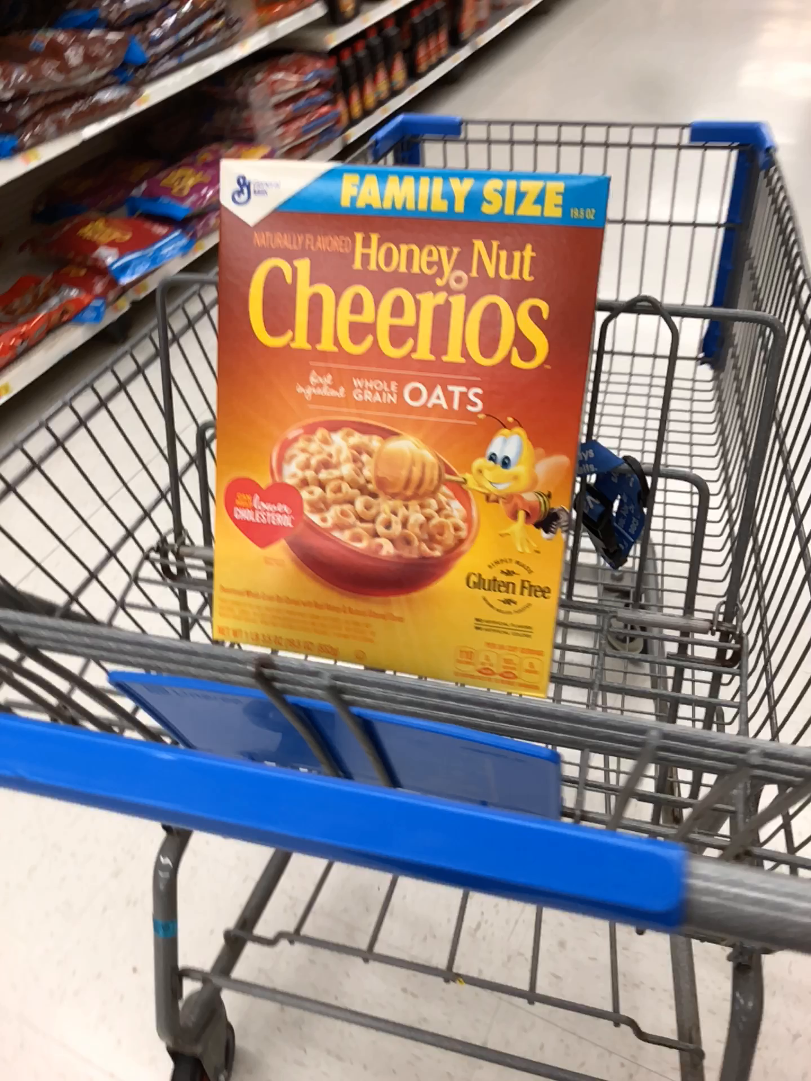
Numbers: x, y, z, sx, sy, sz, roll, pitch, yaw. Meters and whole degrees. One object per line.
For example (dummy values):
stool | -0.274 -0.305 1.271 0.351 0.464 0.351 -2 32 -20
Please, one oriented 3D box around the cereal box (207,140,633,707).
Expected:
cereal box | 0.000 -0.077 0.588 0.250 0.330 0.070 8 15 14
